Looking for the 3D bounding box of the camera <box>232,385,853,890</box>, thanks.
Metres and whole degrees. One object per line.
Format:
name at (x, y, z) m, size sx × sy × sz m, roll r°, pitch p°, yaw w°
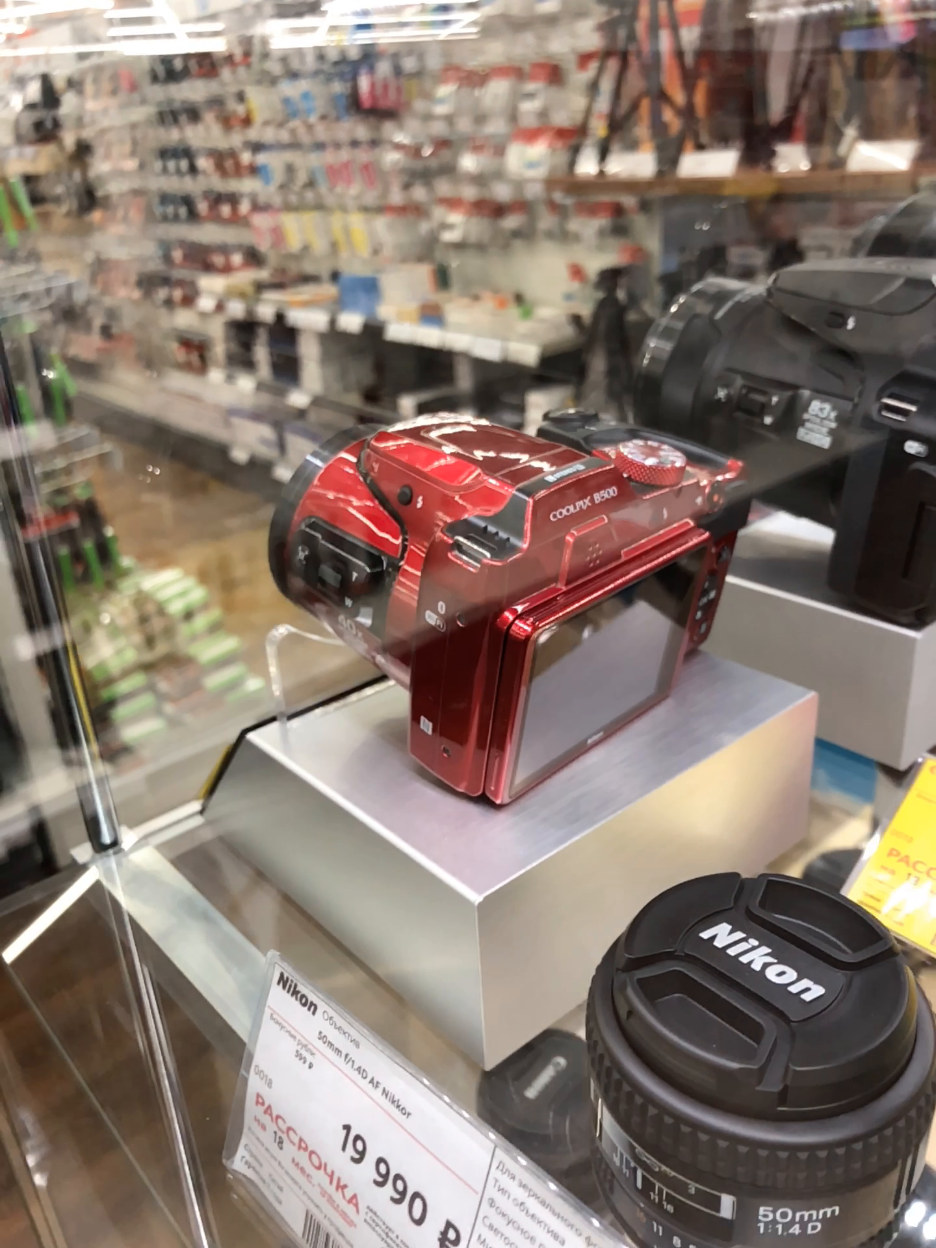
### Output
camera at (0.020, -0.010, 0.291) m, size 0.120 × 0.076 × 0.110 m, roll -22°, pitch 30°, yaw -34°
